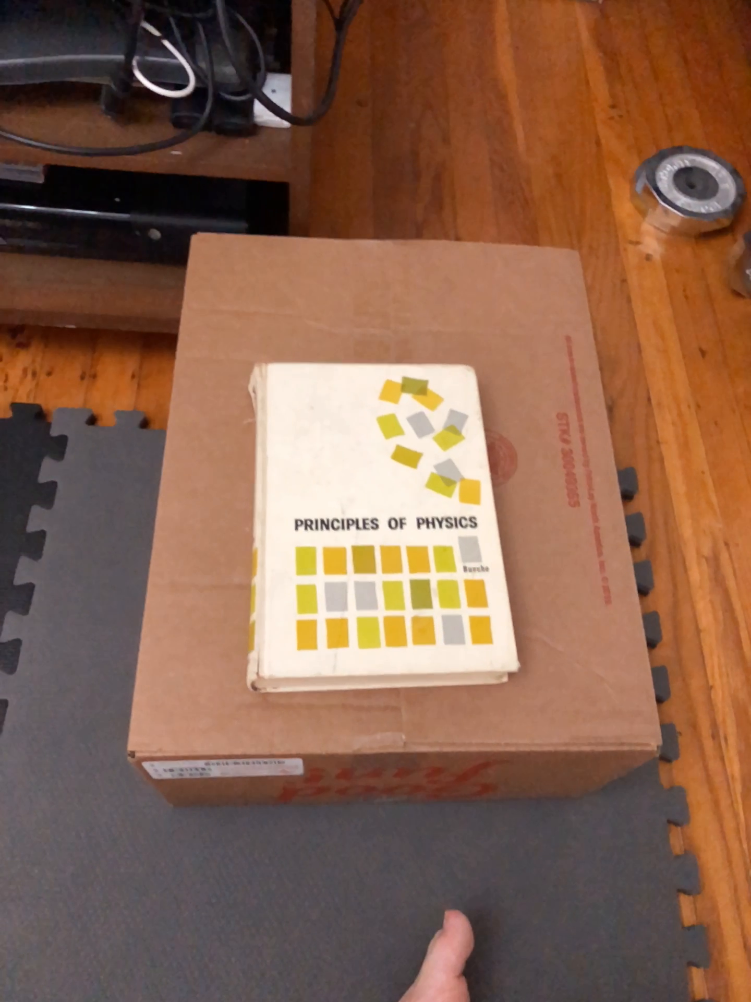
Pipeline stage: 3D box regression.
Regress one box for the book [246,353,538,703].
[{"bbox_3d":[0.004,0.009,0.585,0.180,0.040,0.251,0,62,-5],"label":"book"}]
